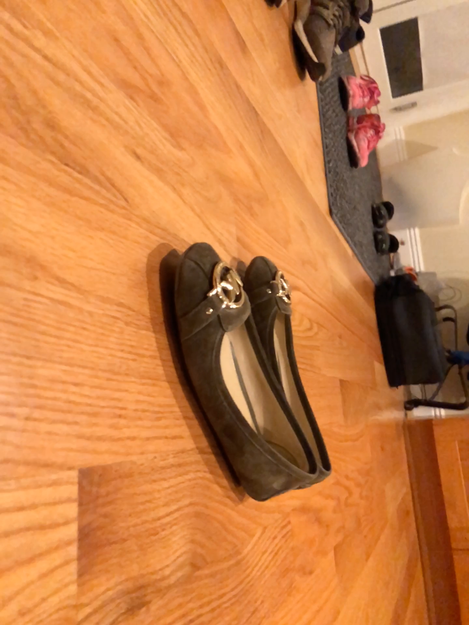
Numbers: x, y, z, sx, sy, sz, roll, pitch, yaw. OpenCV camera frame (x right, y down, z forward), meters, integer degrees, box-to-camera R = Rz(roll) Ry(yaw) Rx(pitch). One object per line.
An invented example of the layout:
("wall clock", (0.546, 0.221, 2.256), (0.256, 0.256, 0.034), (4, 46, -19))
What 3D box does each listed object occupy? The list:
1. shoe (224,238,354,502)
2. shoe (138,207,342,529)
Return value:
("shoe", (0.058, 0.056, 0.524), (0.091, 0.079, 0.240), (2, 80, -68))
("shoe", (0.019, 0.052, 0.416), (0.091, 0.079, 0.242), (-61, 138, -57))
